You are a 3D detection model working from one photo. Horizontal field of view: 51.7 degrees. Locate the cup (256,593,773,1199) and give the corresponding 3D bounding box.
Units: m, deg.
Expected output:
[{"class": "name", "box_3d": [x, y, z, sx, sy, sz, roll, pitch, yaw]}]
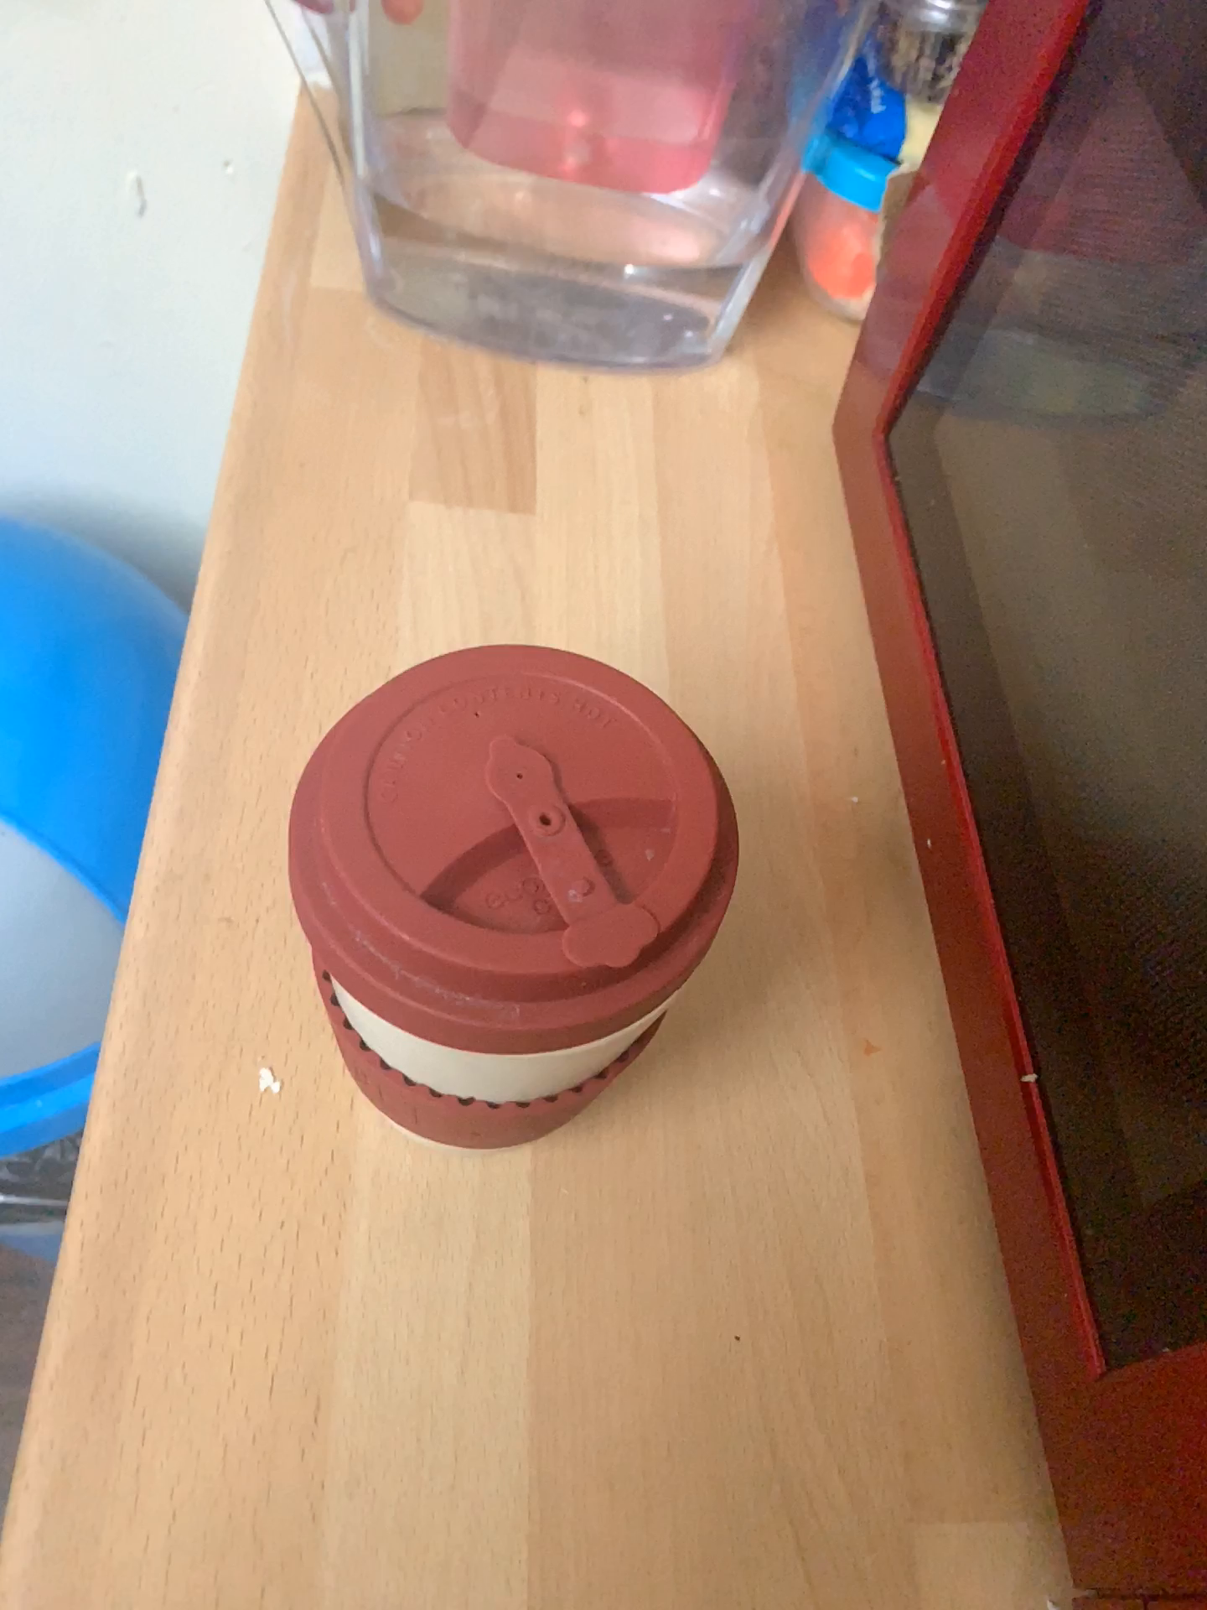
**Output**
[{"class": "cup", "box_3d": [-0.026, 0.027, 0.278, 0.086, 0.115, 0.088, 5, 57, -8]}]
